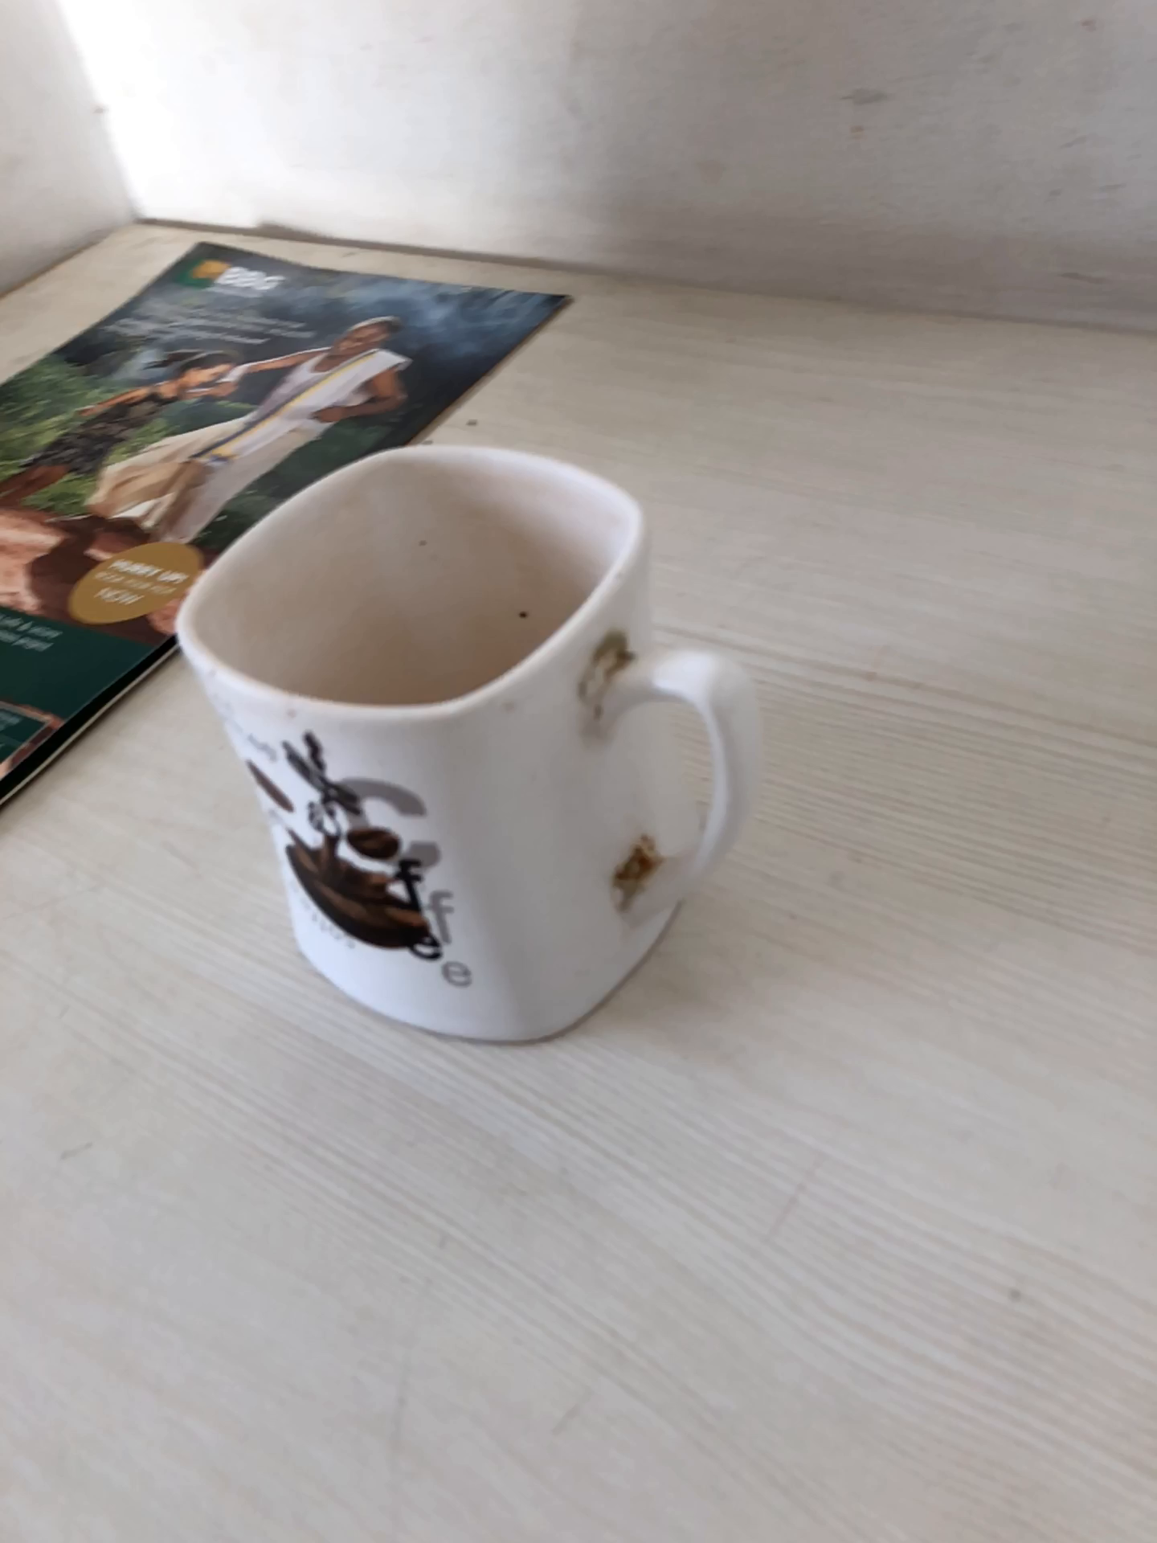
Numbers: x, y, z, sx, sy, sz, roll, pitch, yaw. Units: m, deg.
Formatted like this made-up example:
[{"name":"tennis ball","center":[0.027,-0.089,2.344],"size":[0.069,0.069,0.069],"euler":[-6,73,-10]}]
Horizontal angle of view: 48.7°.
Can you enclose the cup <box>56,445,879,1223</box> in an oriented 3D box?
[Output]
[{"name":"cup","center":[-0.010,0.004,0.196],"size":[0.090,0.070,0.070],"euler":[16,49,27]}]
